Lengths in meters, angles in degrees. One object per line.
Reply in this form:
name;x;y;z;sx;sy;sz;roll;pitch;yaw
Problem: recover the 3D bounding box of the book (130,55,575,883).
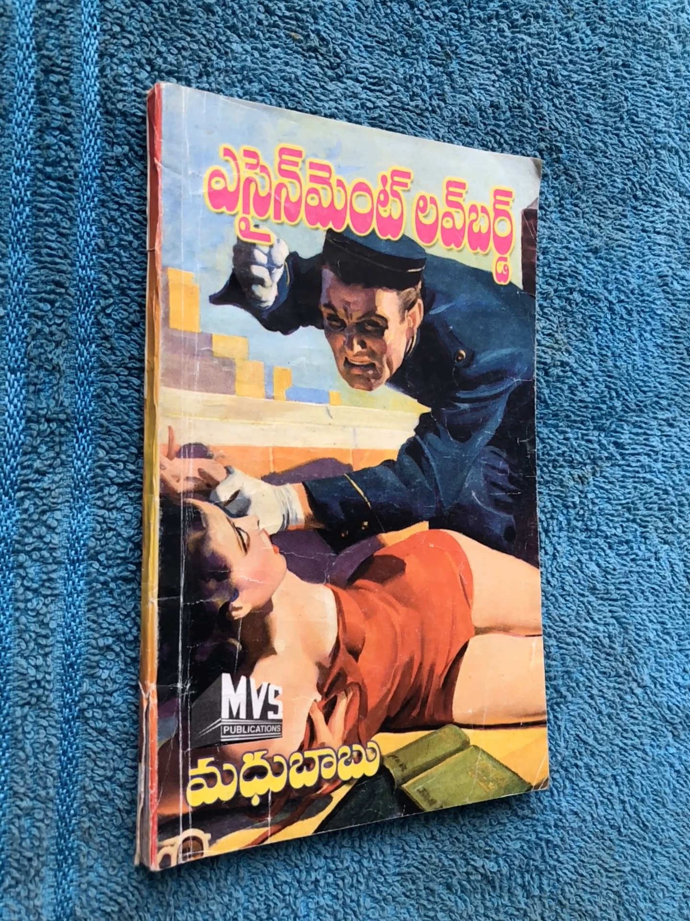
book;0.004;0.001;0.185;0.100;0.030;0.160;2;85;-26
